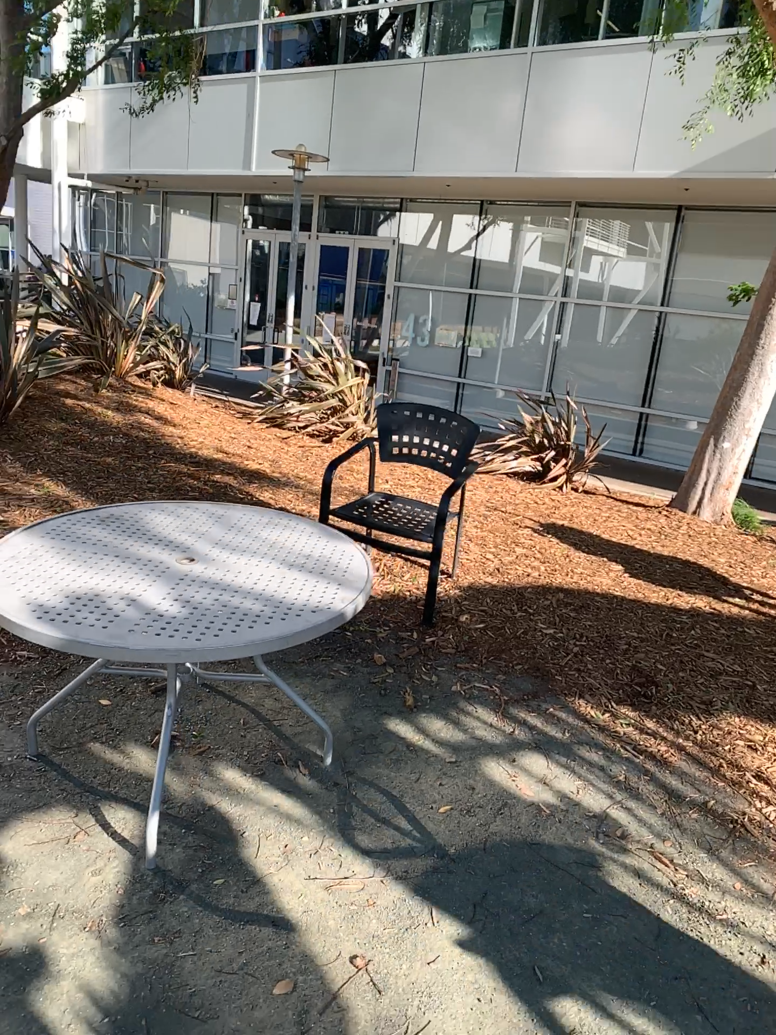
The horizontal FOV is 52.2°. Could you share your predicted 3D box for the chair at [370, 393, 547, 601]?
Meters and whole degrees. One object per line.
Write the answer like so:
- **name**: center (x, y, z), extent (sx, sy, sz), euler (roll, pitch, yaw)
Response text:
- **chair**: center (0.304, -0.117, 3.377), extent (0.521, 0.717, 0.501), euler (13, 16, 23)
